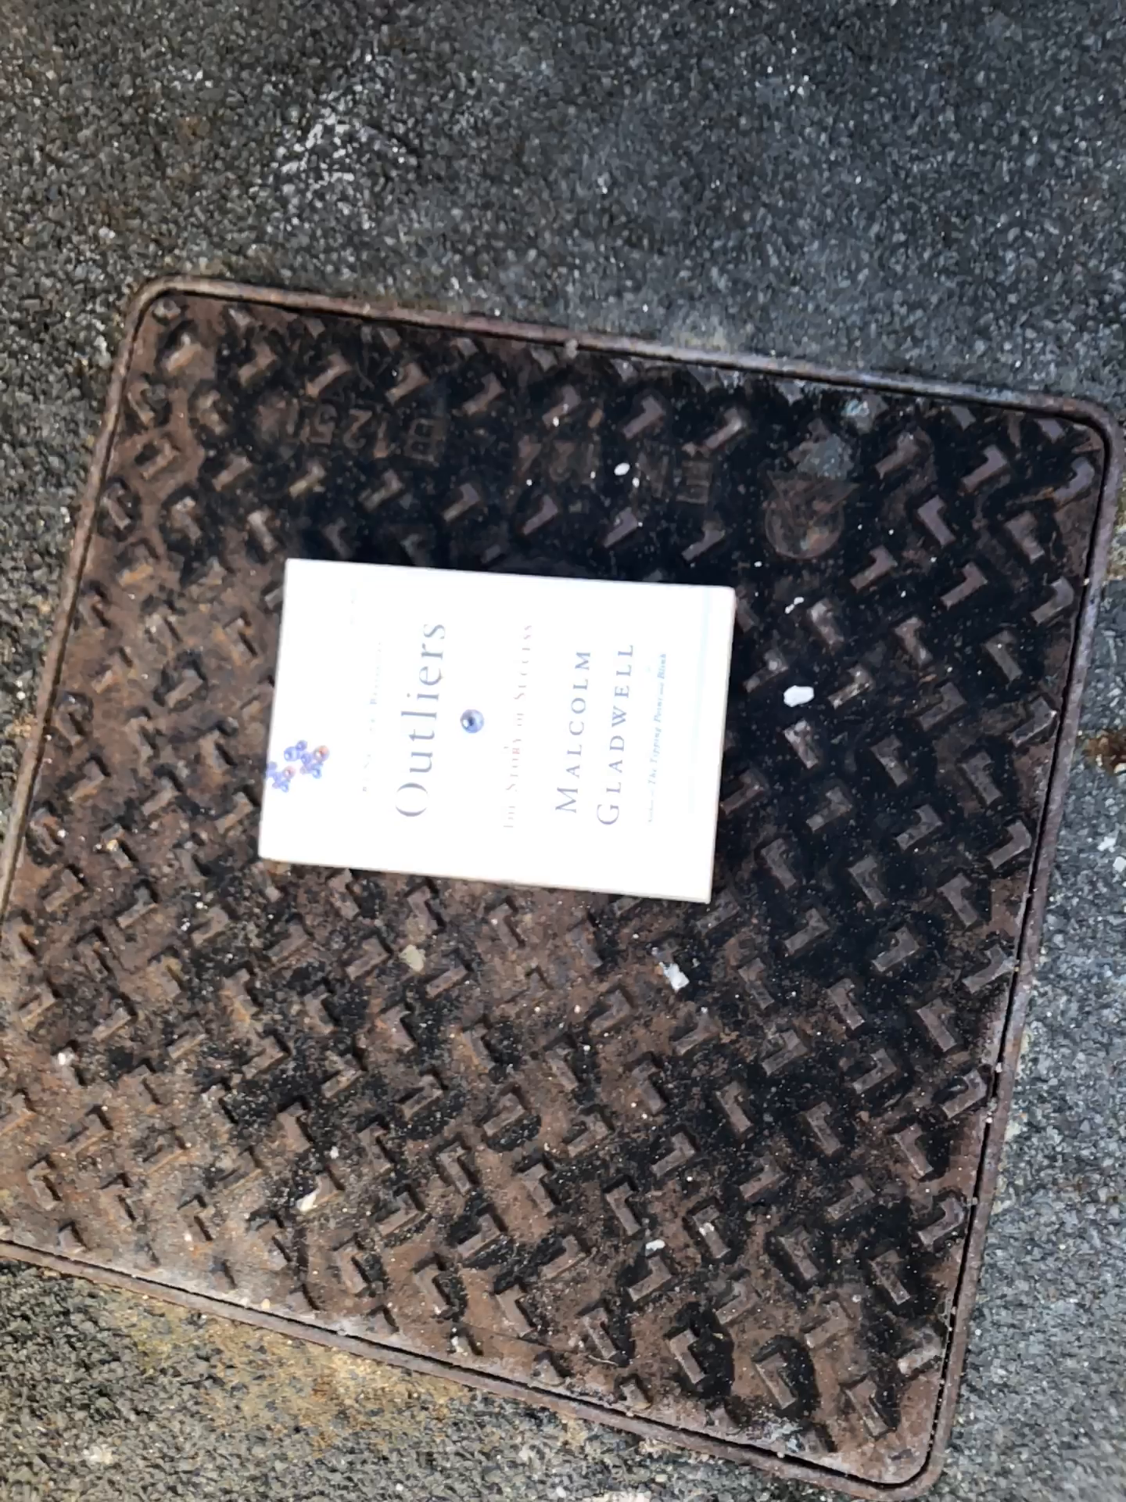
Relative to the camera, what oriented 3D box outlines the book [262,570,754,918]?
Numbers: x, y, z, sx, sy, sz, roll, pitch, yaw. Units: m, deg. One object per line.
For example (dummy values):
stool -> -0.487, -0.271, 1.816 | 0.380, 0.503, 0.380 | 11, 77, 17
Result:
book -> -0.024, -0.005, 0.568 | 0.209, 0.030, 0.139 | 5, 85, 8
